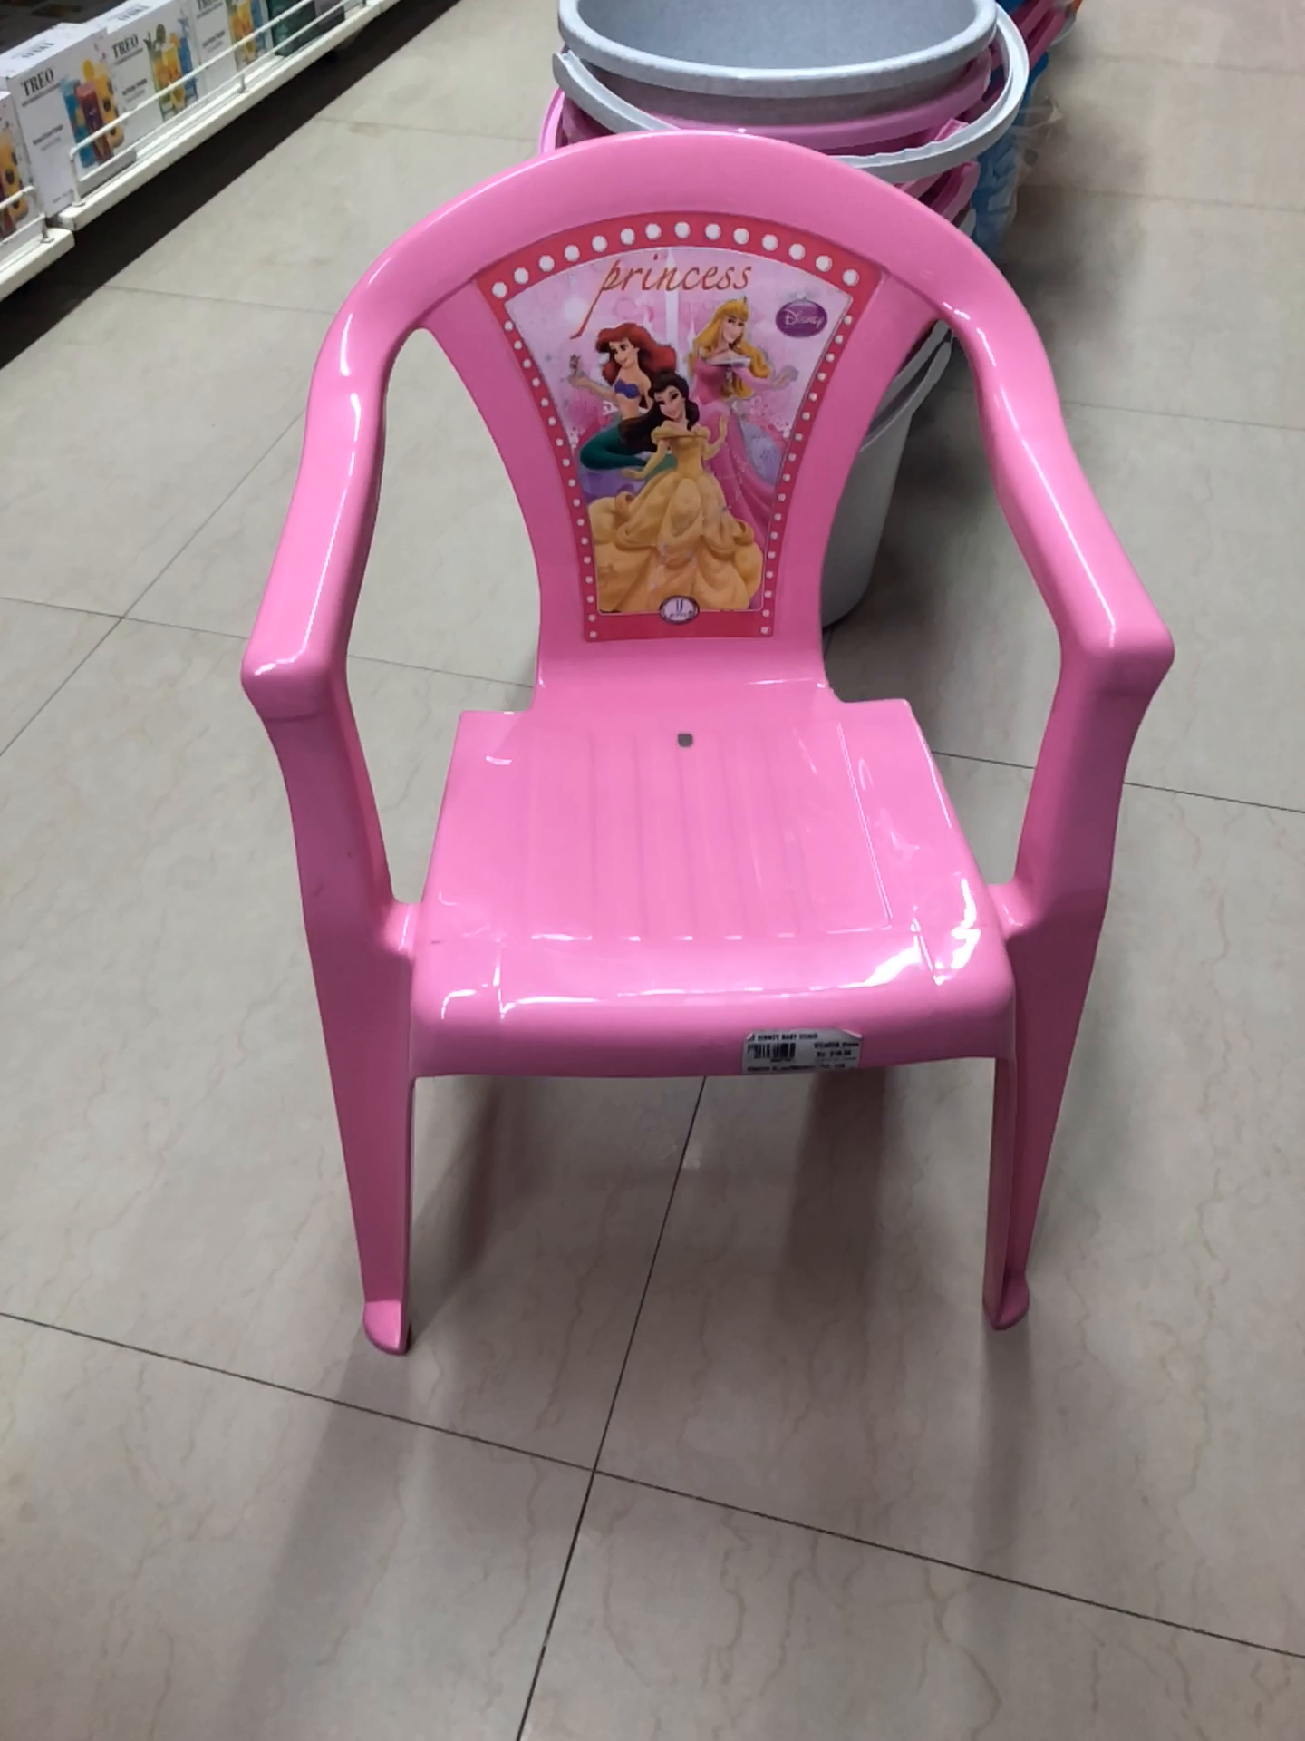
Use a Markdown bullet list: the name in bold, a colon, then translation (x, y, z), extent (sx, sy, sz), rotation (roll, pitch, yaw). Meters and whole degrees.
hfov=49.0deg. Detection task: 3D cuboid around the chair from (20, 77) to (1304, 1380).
- **chair**: translation (0.016, -0.048, 0.667), extent (0.370, 0.477, 0.352), rotation (-2, 45, -2)
